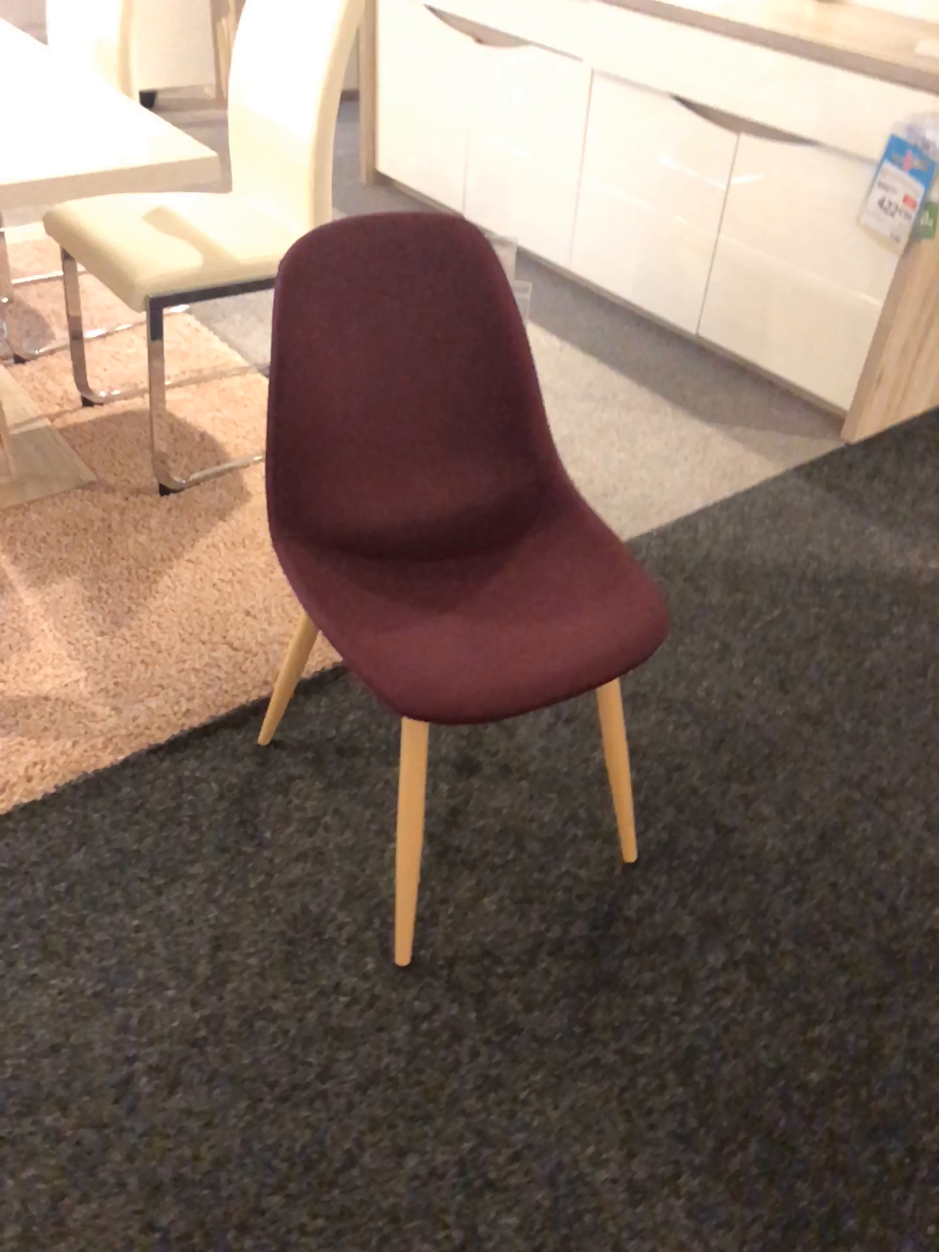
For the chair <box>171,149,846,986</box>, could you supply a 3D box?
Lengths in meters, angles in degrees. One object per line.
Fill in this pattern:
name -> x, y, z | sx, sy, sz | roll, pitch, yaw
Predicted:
chair -> -0.013, -0.089, 1.312 | 0.472, 0.795, 0.571 | -18, 44, -25
